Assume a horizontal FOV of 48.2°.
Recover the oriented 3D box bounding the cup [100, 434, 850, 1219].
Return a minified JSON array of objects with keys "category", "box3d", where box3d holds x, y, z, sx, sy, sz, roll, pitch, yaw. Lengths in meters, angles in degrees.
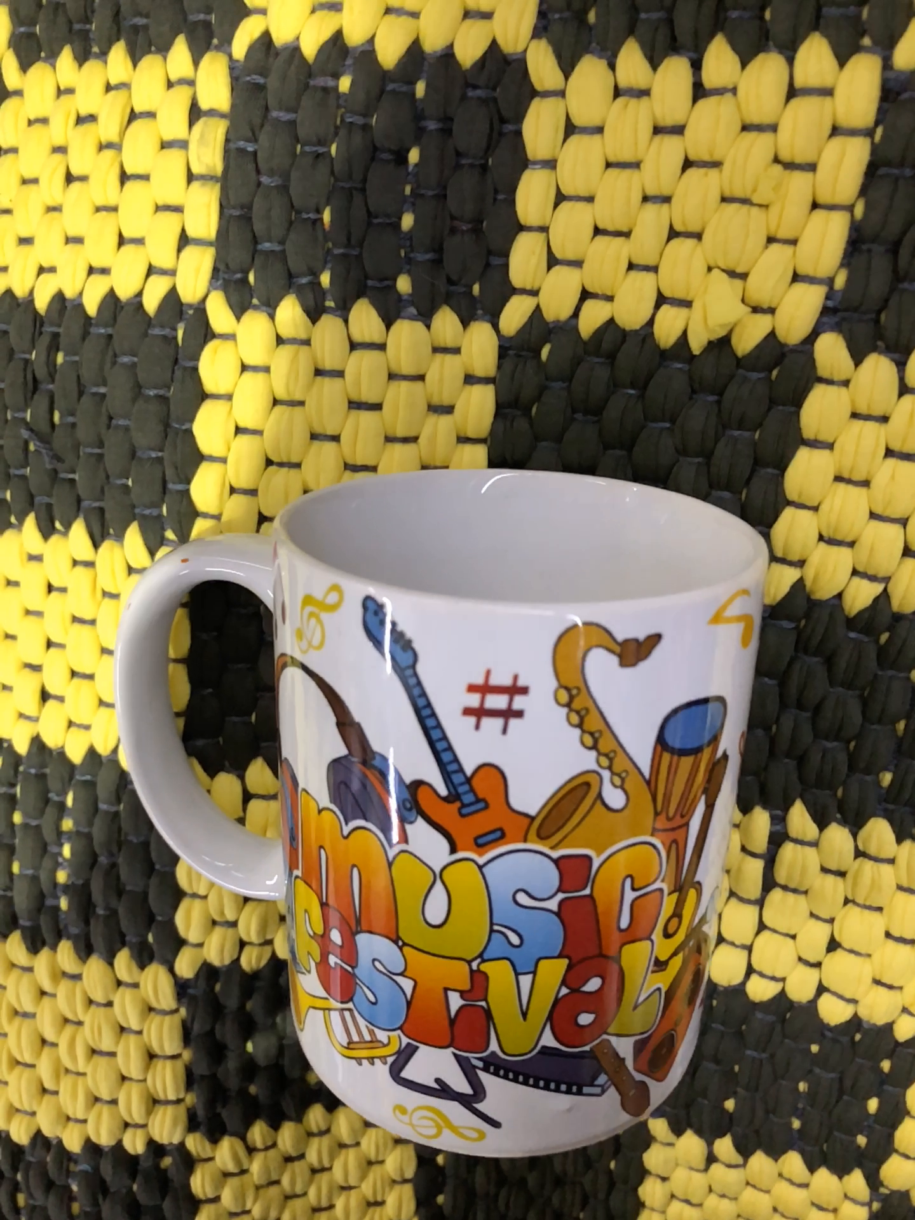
[{"category":"cup","box3d":[0.001,0.029,0.183,0.100,0.070,0.100,13,111,35]}]
